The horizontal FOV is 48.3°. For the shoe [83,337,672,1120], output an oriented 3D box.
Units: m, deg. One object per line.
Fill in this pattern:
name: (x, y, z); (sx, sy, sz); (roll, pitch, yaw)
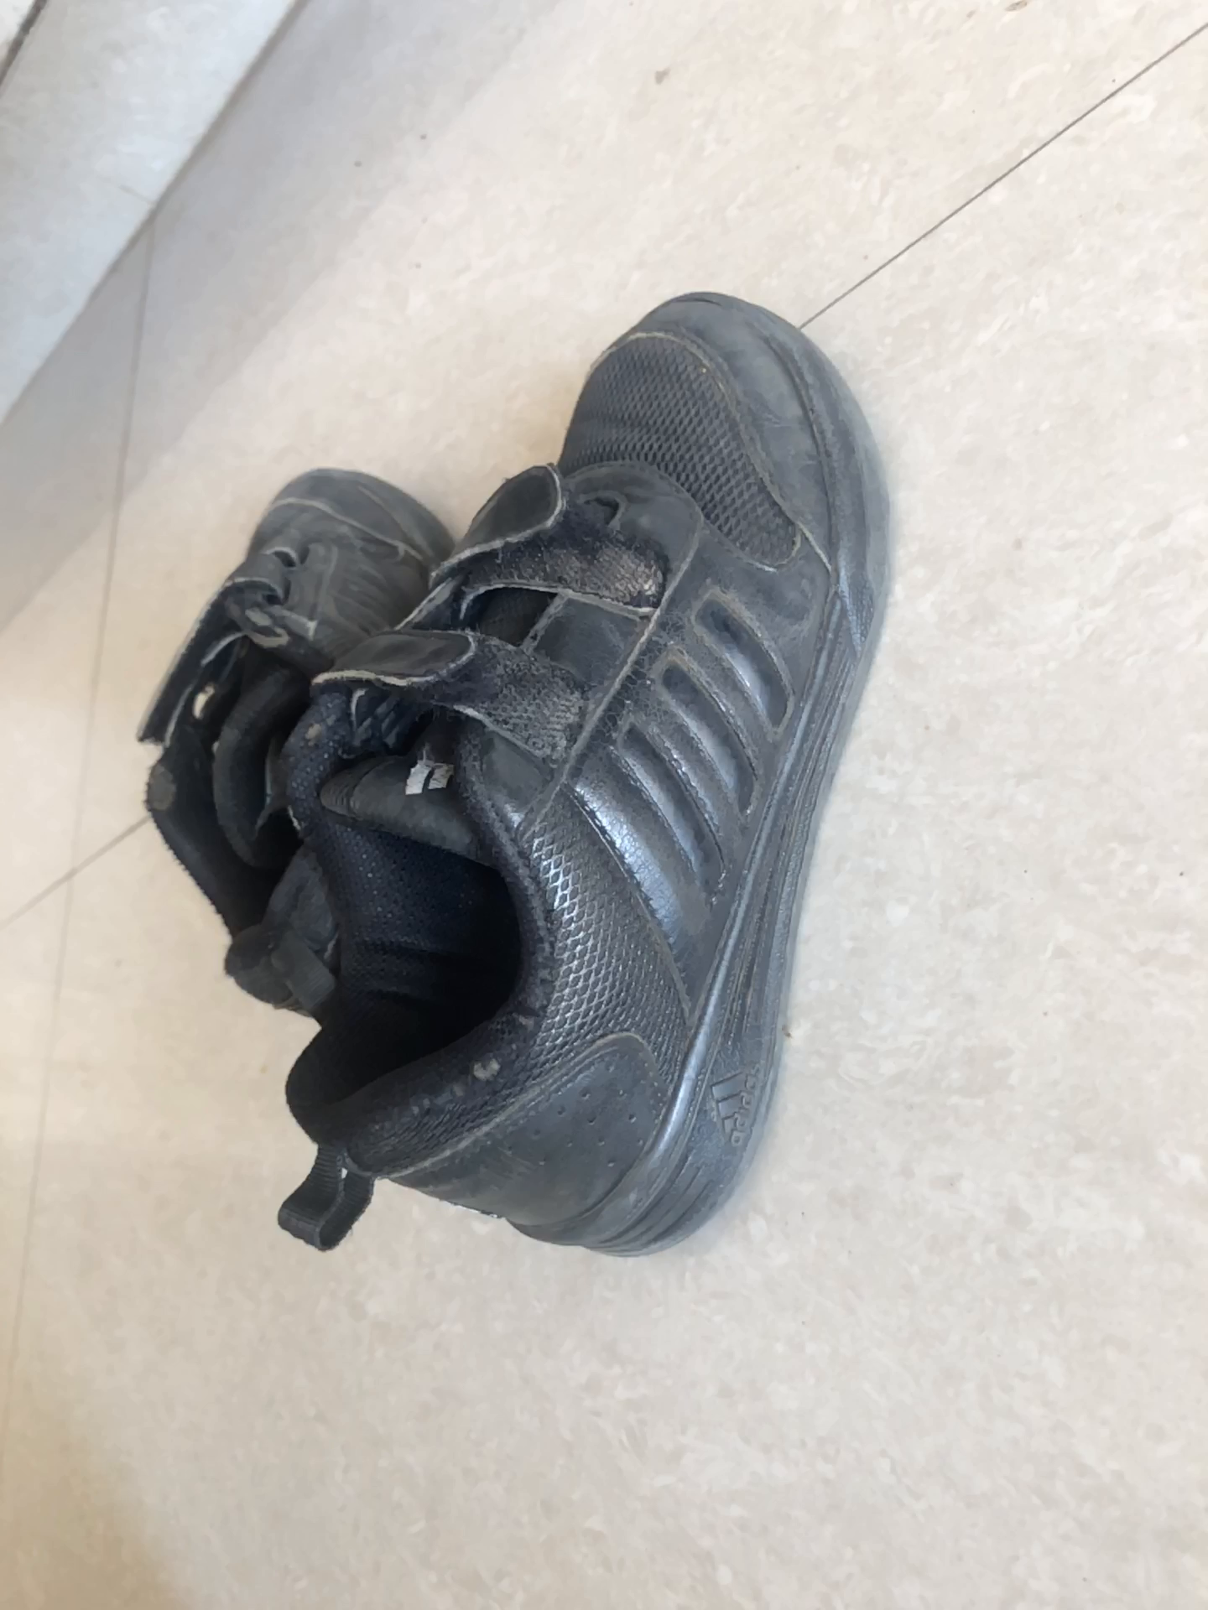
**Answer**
shoe: (-0.077, -0.028, 0.377); (0.100, 0.079, 0.201); (-52, 43, 24)

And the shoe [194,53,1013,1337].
shoe: (0.003, -0.014, 0.290); (0.101, 0.099, 0.220); (-2, 75, 50)
